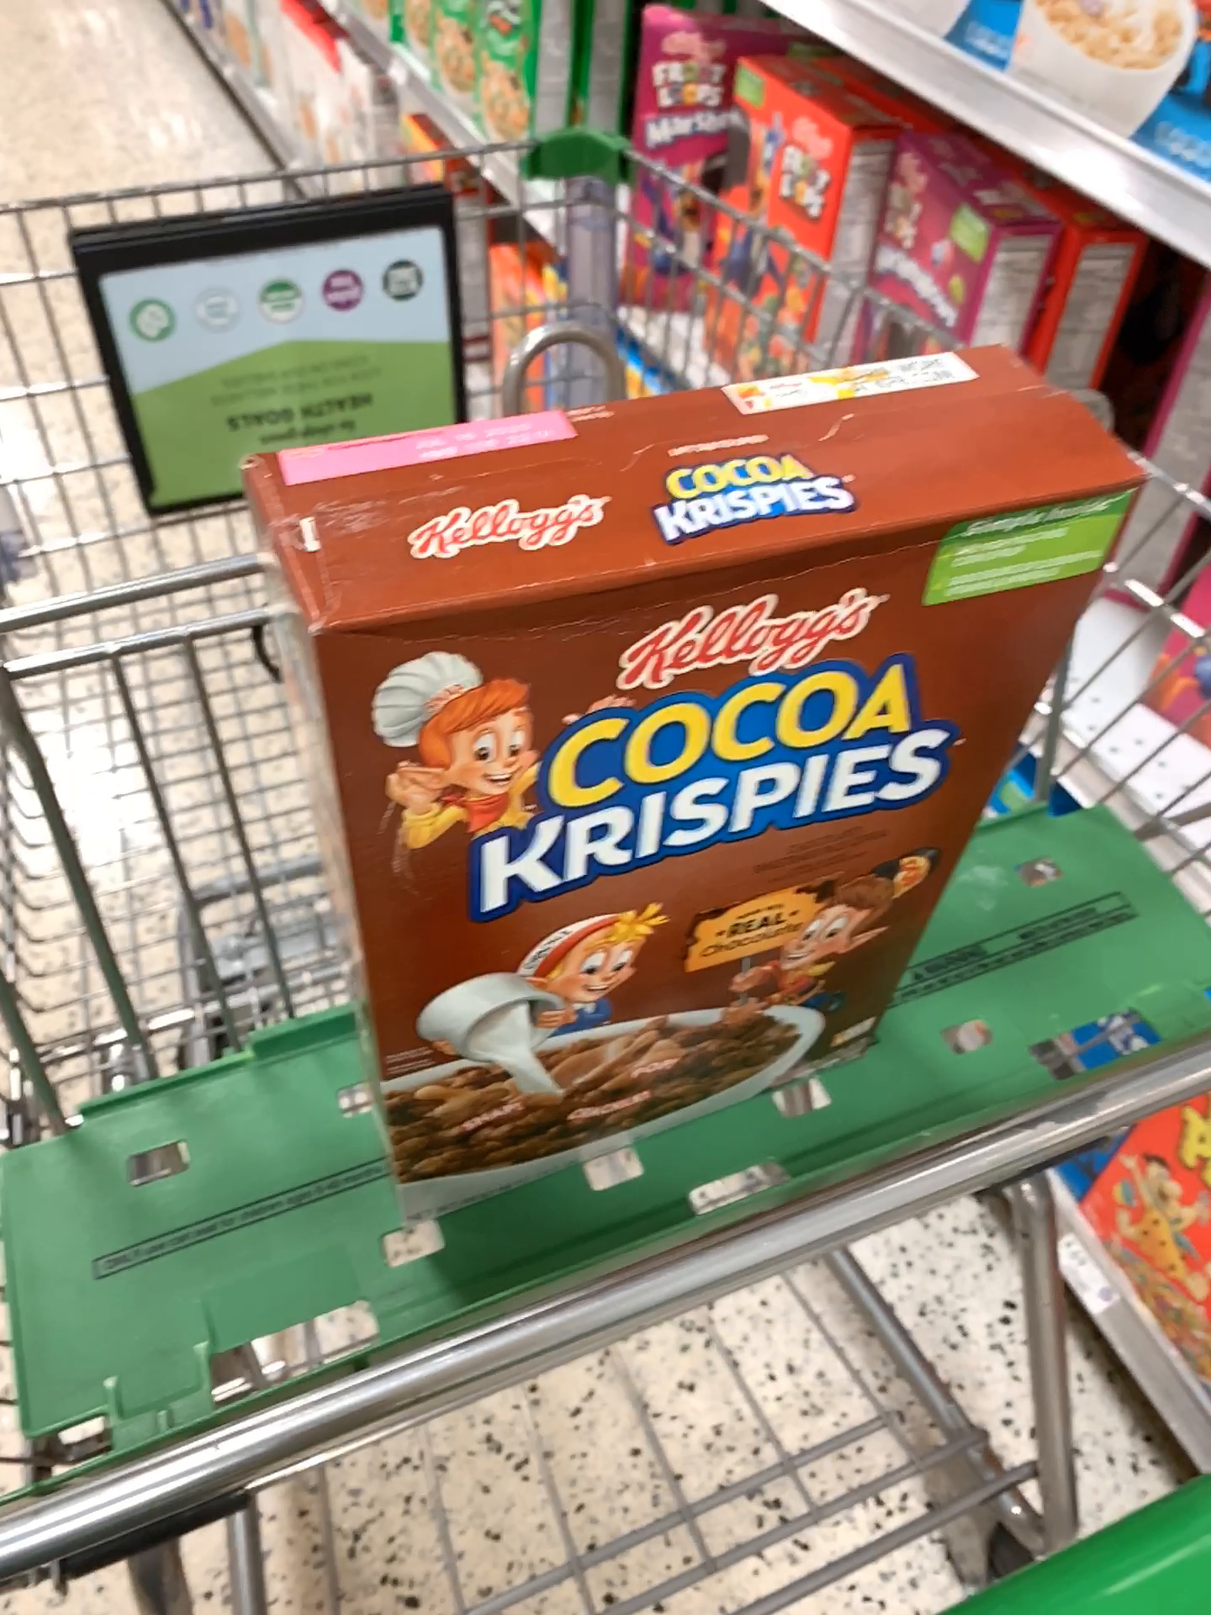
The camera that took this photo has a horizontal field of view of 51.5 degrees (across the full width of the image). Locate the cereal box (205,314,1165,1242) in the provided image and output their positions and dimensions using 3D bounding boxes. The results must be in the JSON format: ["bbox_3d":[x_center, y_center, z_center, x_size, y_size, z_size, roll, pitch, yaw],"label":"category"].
[{"bbox_3d":[0.012,0.019,0.390,0.200,0.307,0.060,-15,54,-15],"label":"cereal box"}]
